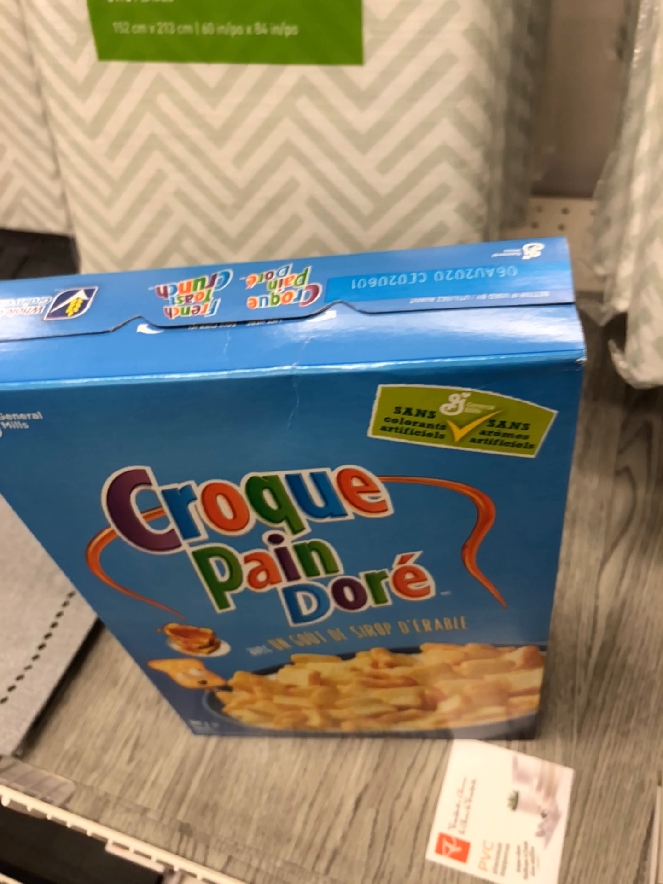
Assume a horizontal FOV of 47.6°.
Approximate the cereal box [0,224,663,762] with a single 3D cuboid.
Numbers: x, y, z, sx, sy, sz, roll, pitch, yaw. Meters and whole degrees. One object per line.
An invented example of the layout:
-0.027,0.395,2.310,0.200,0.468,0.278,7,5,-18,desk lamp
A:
-0.001,0.055,0.313,0.210,0.279,0.050,-3,48,10,cereal box
